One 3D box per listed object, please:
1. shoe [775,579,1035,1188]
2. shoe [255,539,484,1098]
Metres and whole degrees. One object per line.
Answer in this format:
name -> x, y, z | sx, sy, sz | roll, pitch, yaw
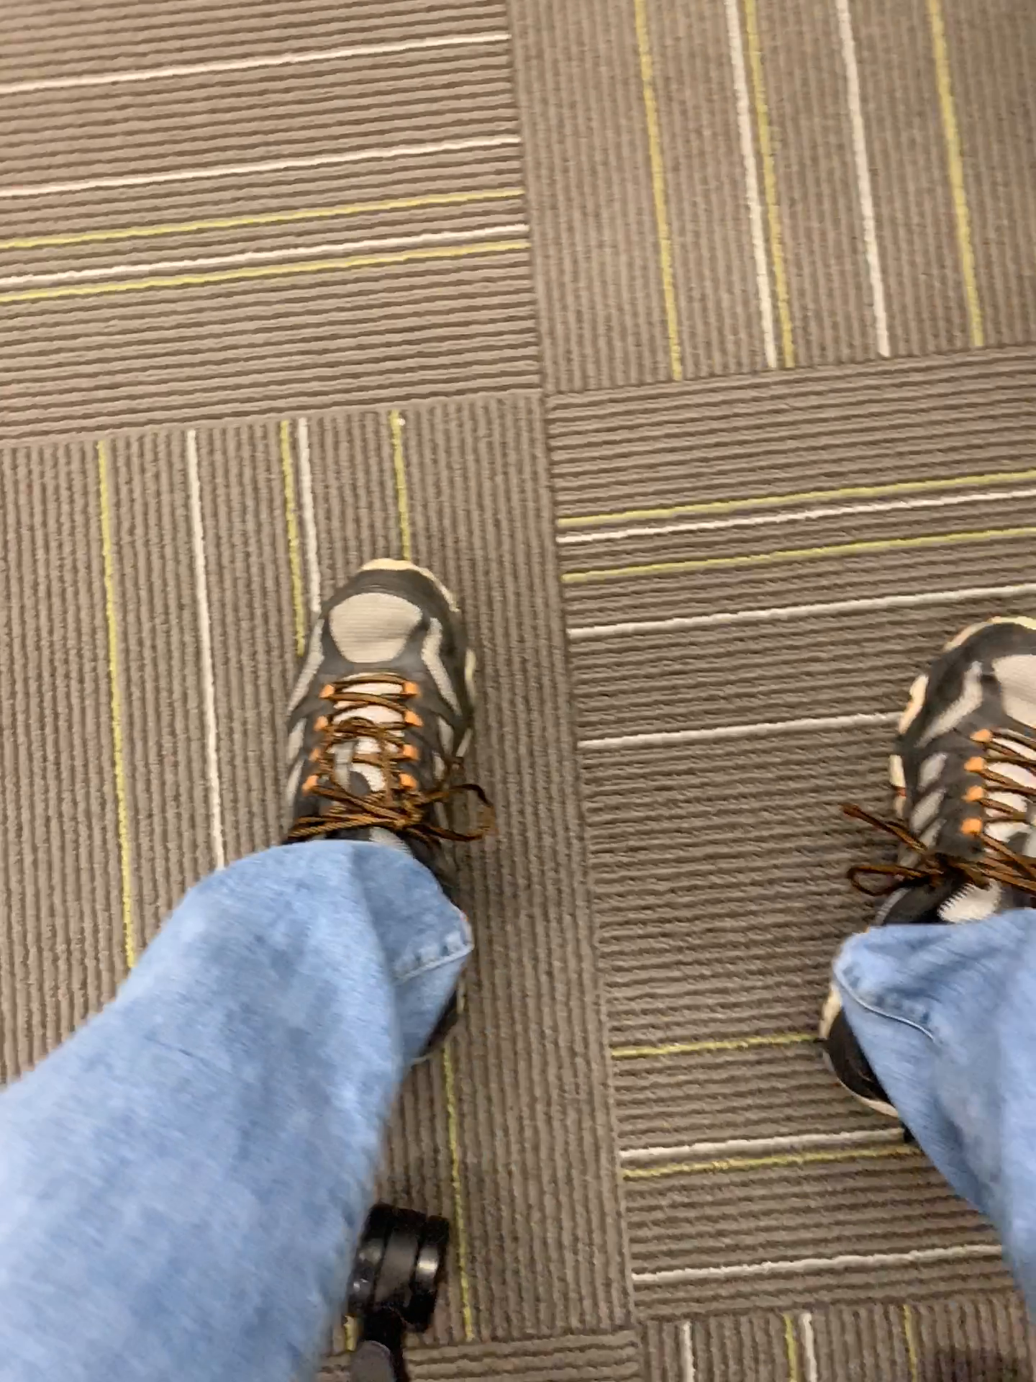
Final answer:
shoe -> 0.278, 0.110, 0.654 | 0.122, 0.095, 0.322 | 19, 87, 3
shoe -> -0.089, 0.075, 0.668 | 0.125, 0.095, 0.323 | -1, 86, 2
